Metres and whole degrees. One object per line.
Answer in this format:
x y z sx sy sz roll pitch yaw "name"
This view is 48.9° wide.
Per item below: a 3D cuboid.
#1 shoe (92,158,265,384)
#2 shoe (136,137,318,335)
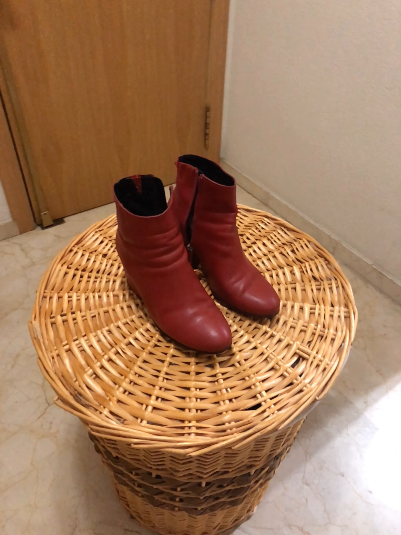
-0.040 -0.004 0.608 0.099 0.184 0.245 -24 48 -26 "shoe"
0.026 -0.053 0.663 0.245 0.184 0.099 34 51 30 "shoe"
